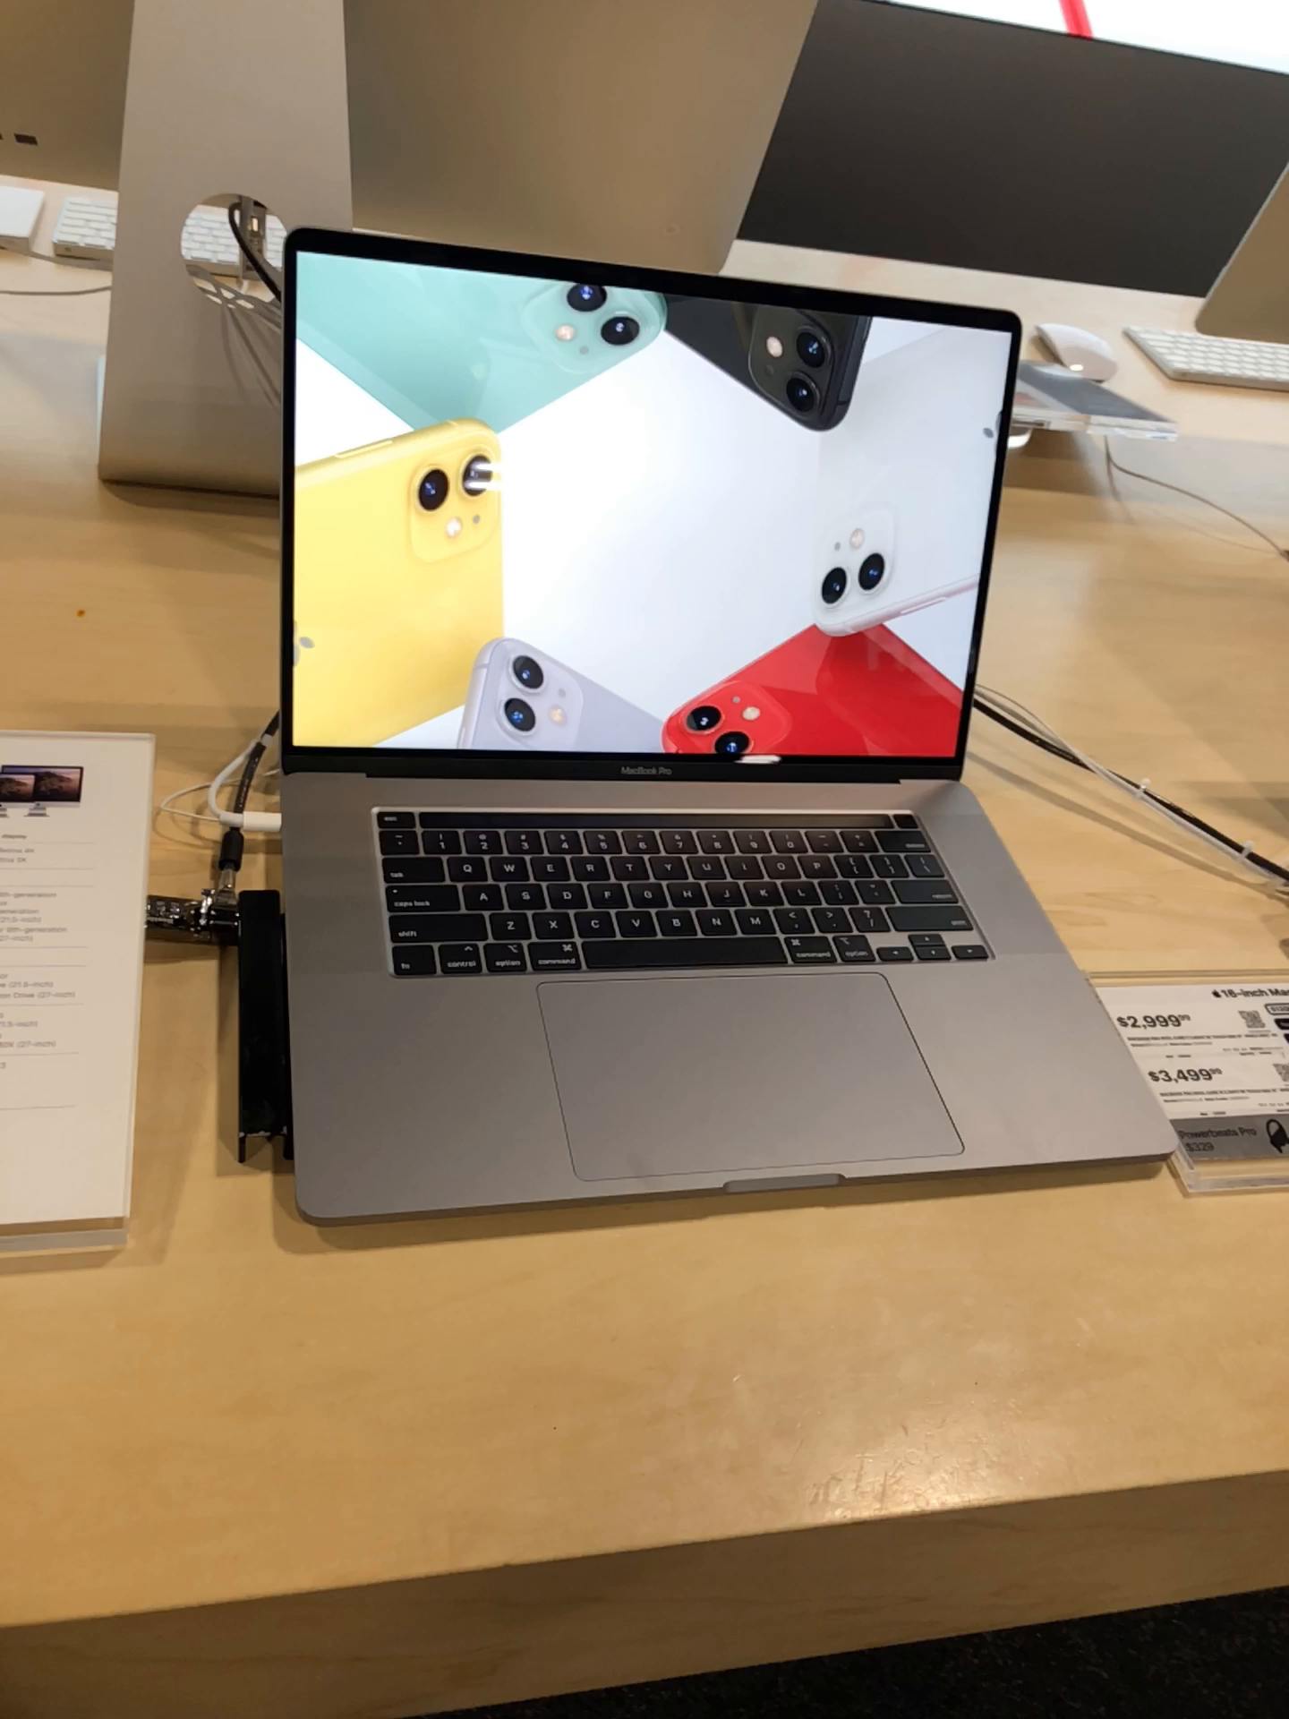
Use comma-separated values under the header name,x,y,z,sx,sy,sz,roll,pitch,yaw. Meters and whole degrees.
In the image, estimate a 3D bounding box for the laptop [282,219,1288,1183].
name,x,y,z,sx,sy,sz,roll,pitch,yaw
laptop,0.029,-0.075,0.590,0.336,0.204,0.350,0,43,-14
